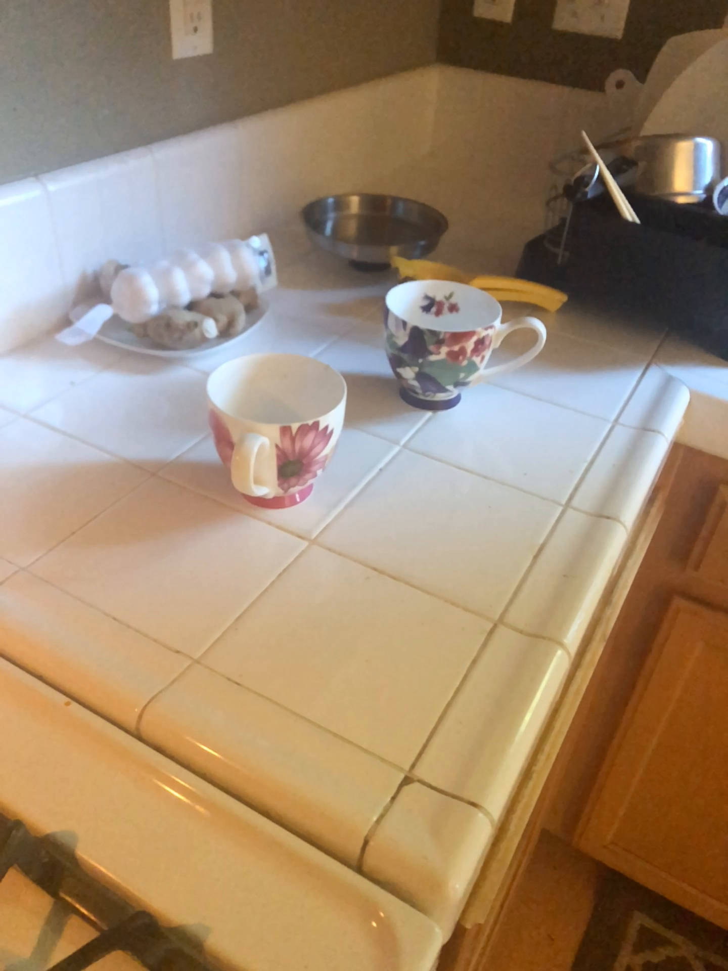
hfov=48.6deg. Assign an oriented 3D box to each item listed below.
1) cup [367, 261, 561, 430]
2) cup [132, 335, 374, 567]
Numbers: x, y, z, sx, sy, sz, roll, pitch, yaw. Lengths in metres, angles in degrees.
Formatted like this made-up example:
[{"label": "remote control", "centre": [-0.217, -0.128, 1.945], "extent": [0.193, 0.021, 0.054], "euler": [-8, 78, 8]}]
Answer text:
[{"label": "cup", "centre": [0.094, -0.134, 0.751], "extent": [0.150, 0.089, 0.111], "euler": [14, 38, 11]}, {"label": "cup", "centre": [-0.076, -0.033, 0.599], "extent": [0.110, 0.079, 0.151], "euler": [18, 39, 16]}]
